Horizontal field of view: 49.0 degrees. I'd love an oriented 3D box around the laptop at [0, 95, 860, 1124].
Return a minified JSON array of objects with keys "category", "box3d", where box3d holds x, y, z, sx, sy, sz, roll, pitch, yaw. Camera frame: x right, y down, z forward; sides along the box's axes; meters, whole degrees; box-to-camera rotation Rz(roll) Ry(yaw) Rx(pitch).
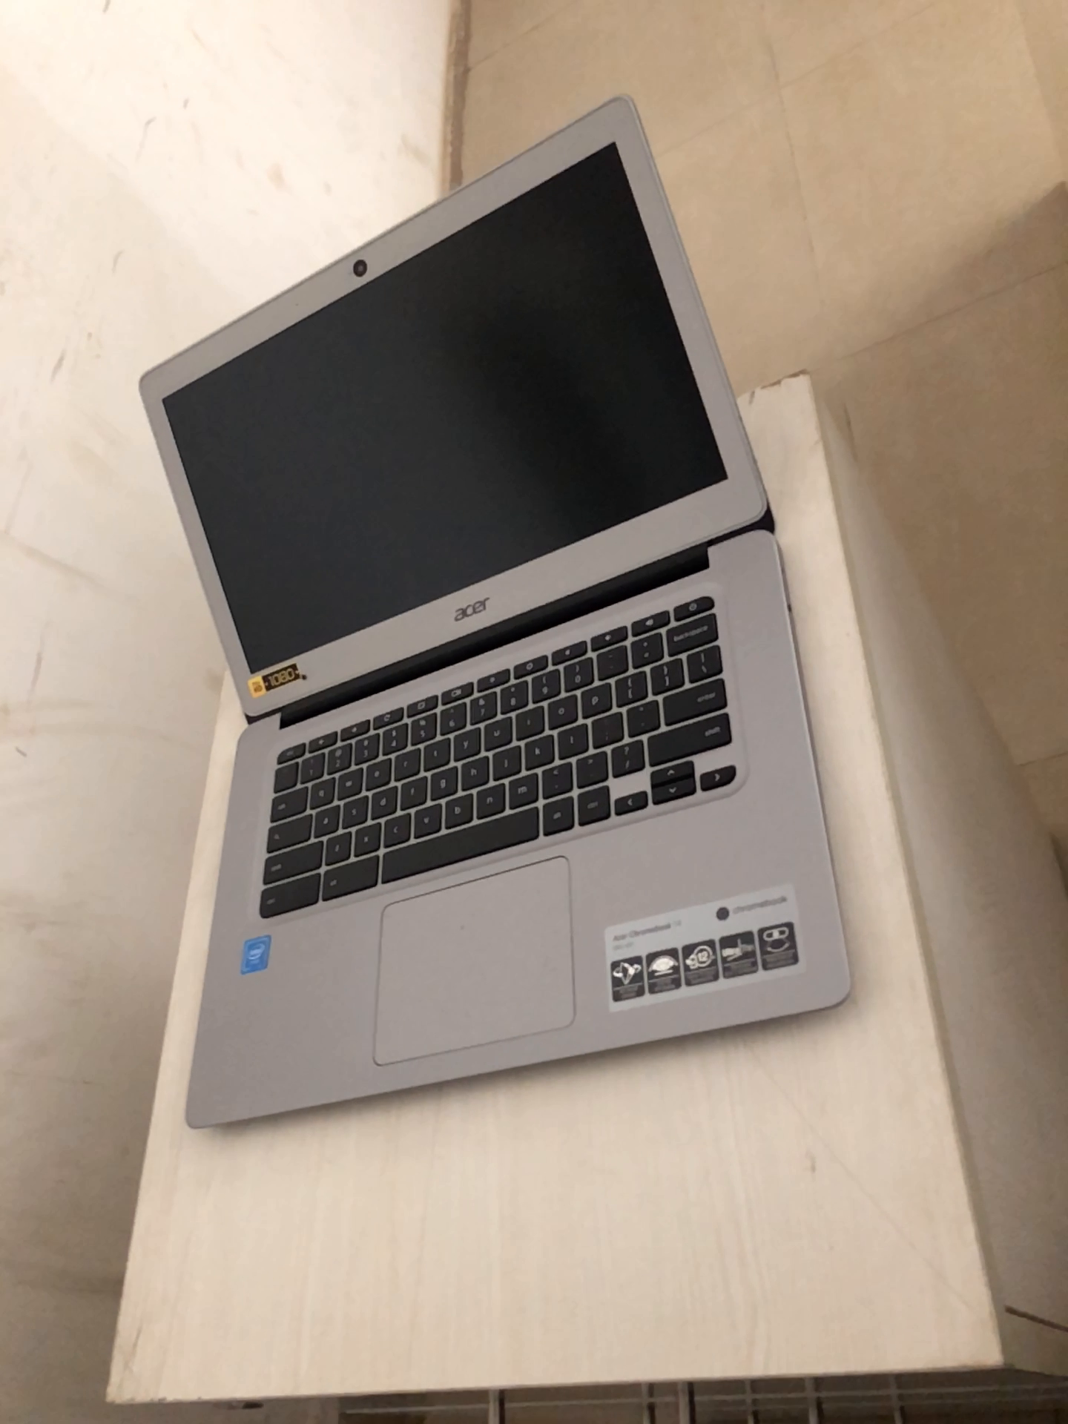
[{"category":"laptop","box3d":[-0.058,-0.047,0.568,0.332,0.126,0.409,-19,53,26]}]
